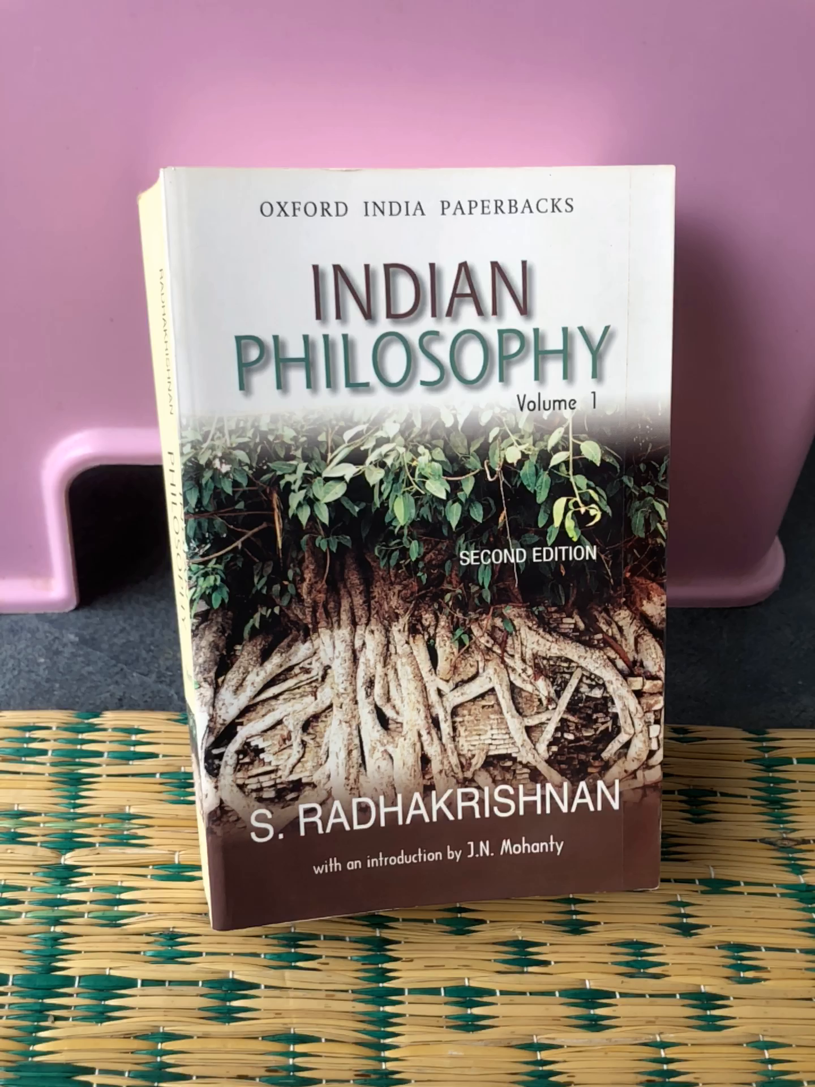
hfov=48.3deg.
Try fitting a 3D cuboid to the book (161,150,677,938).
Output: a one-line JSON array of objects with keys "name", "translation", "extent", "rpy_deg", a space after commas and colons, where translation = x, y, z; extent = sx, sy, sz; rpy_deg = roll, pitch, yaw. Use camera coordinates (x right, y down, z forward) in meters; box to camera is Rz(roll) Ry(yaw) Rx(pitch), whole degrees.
[{"name": "book", "translation": [0.003, -0.002, 0.287], "extent": [0.140, 0.210, 0.070], "rpy_deg": [-2, 5, -9]}]
